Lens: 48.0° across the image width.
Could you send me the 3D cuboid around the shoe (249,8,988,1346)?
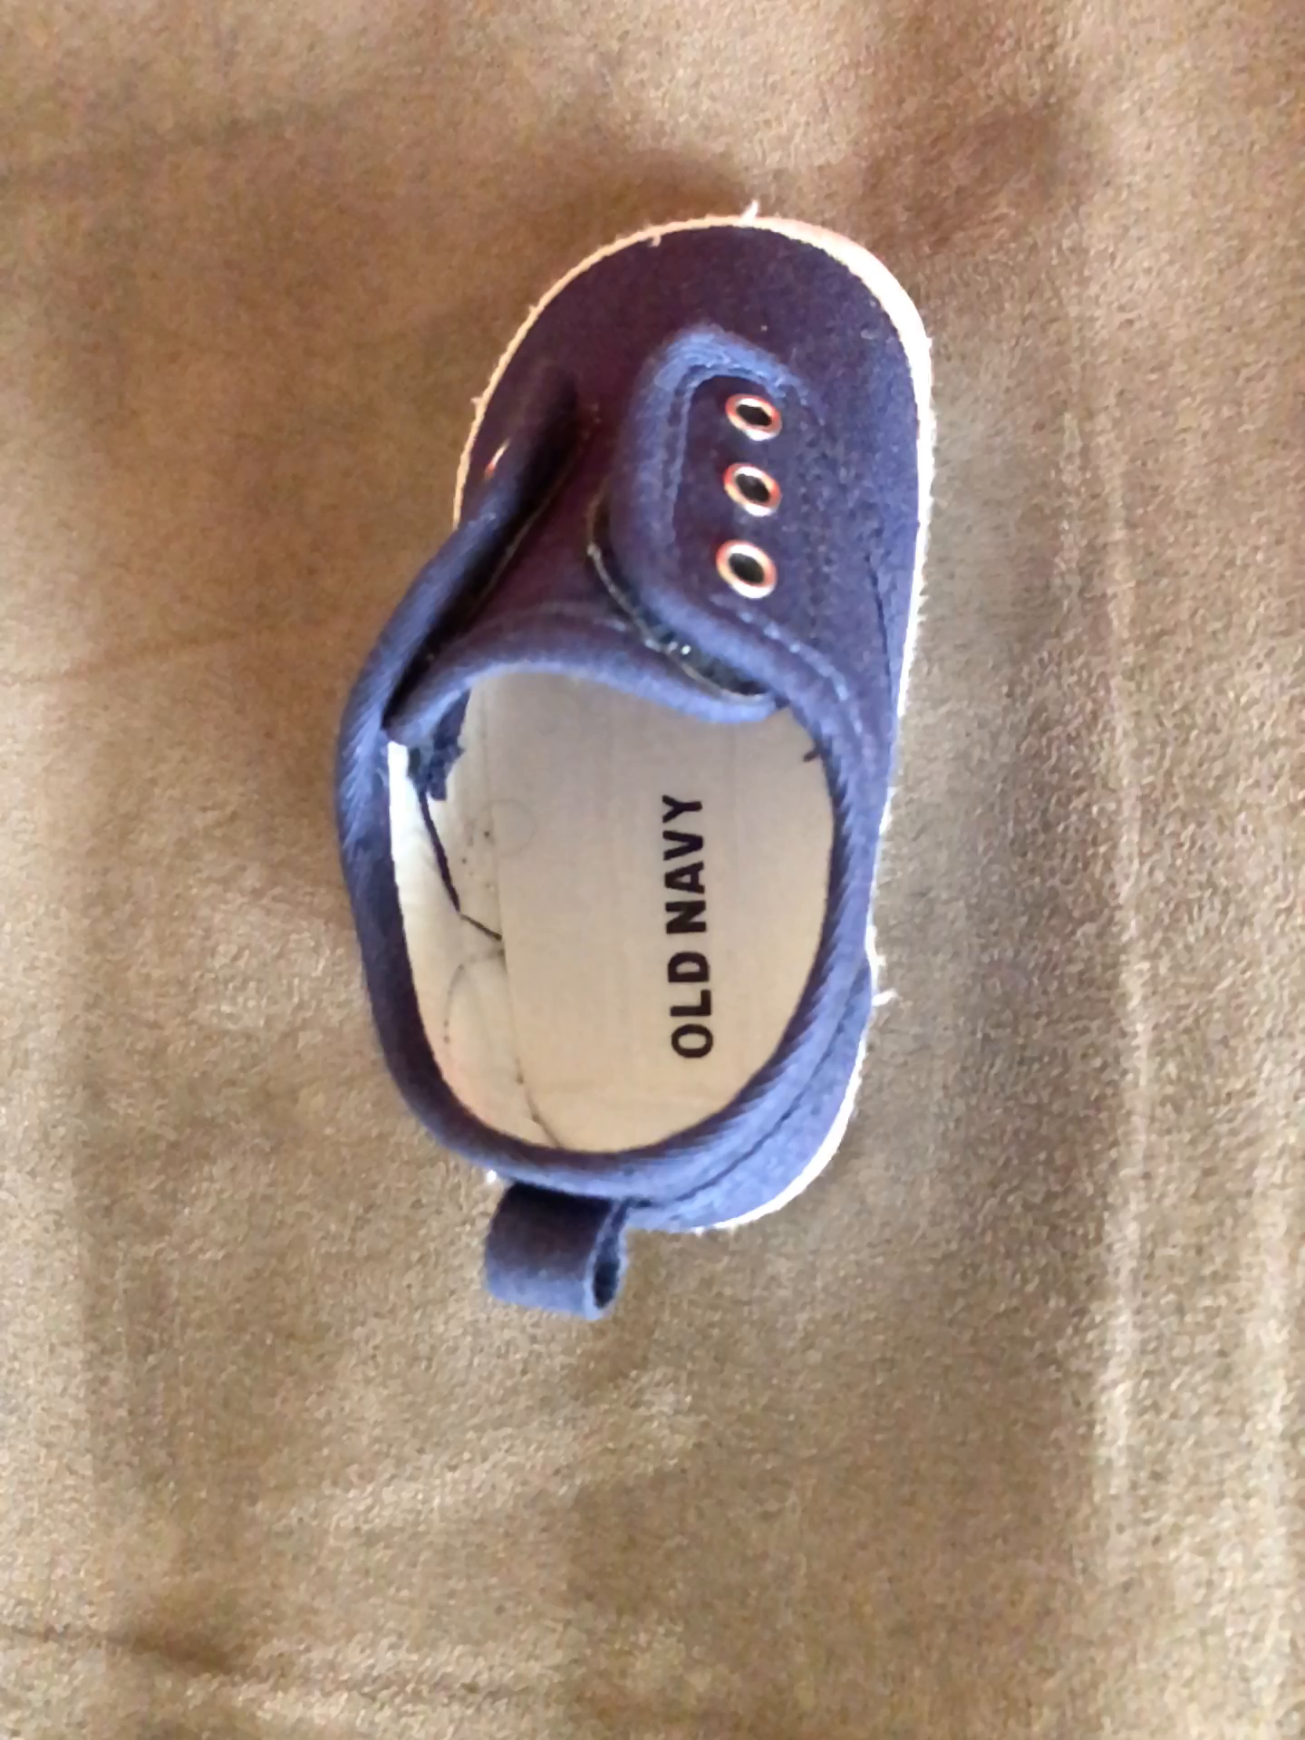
[{"bbox_3d":[0.000,-0.015,0.159,0.060,0.060,0.110,-1,88,23],"label":"shoe"}]
